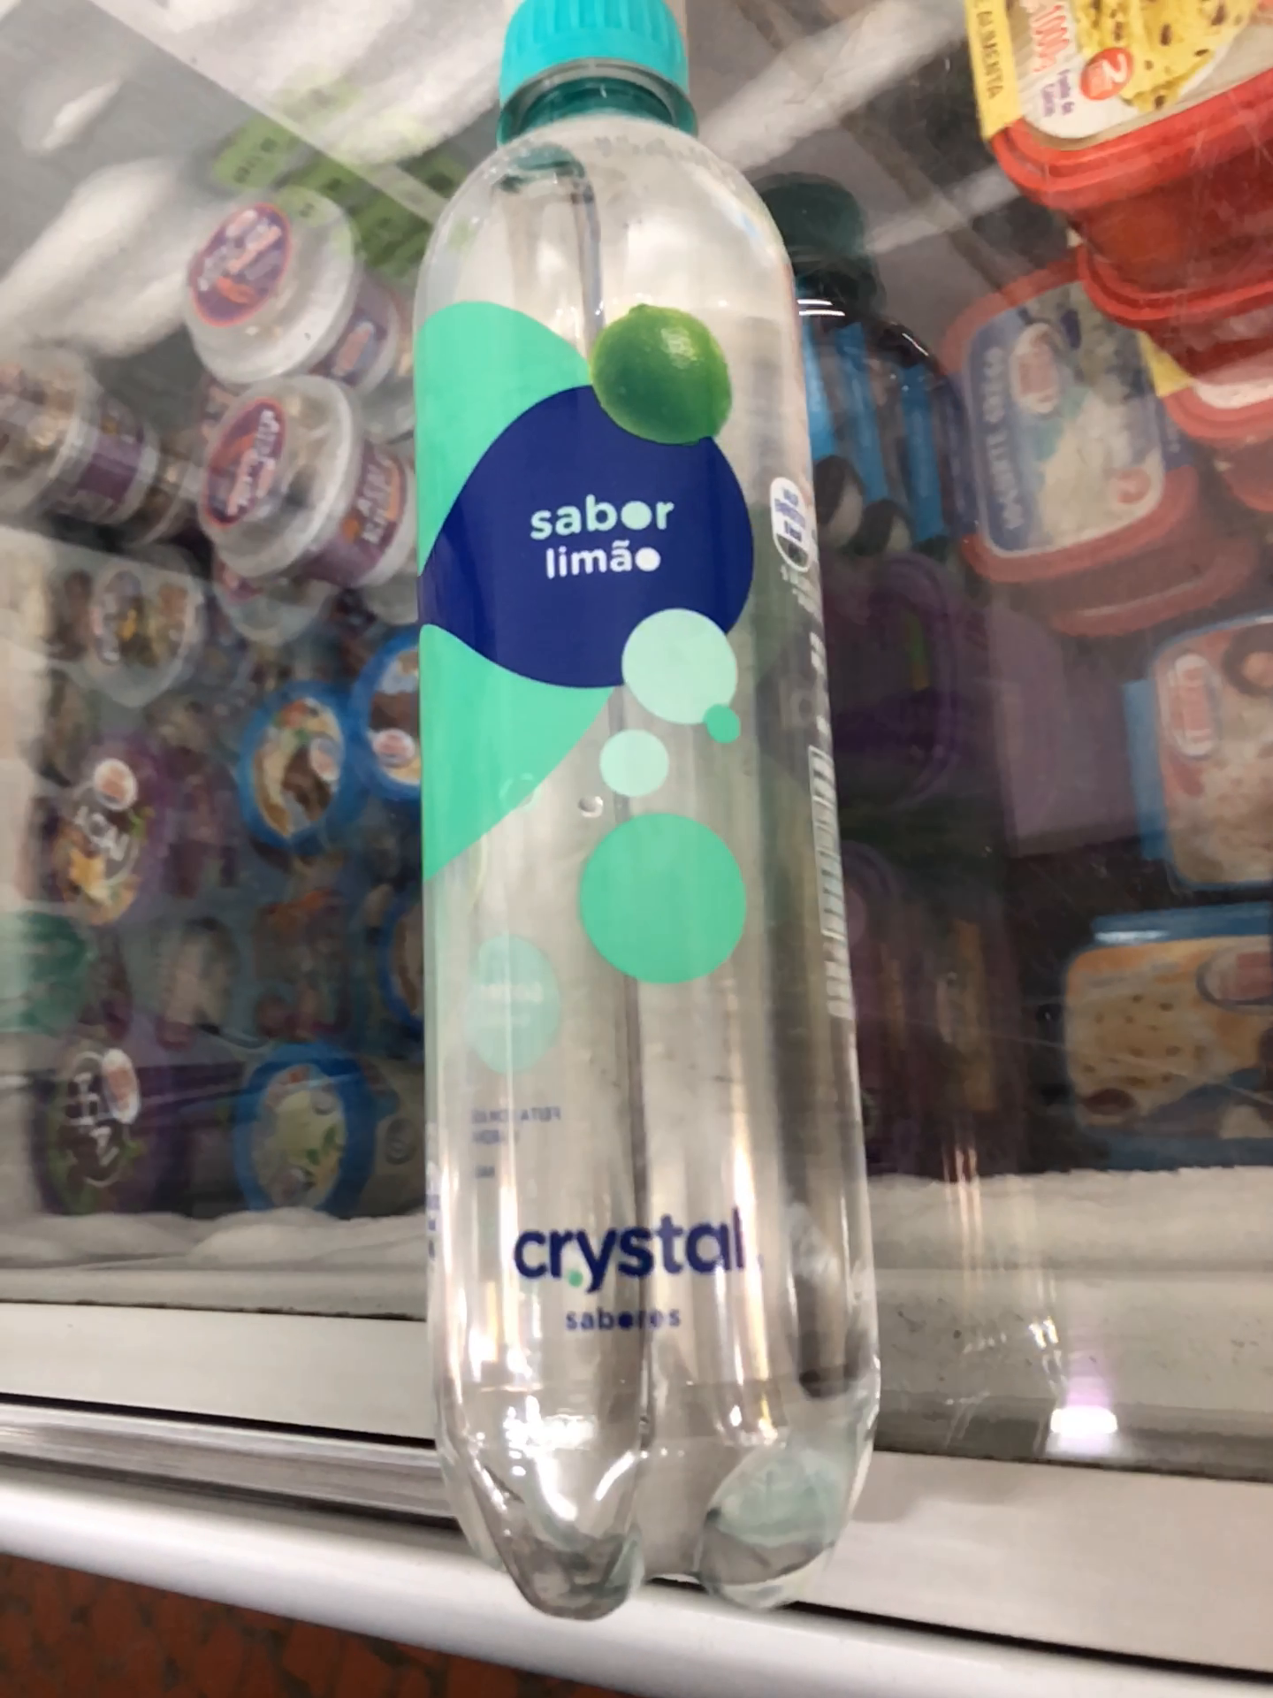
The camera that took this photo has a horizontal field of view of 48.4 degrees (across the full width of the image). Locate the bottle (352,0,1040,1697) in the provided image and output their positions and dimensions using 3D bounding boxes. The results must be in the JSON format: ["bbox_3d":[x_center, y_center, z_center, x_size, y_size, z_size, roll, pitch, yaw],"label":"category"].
[{"bbox_3d":[0.006,-0.001,0.203,0.070,0.070,0.240,-3,83,4],"label":"bottle"}]
